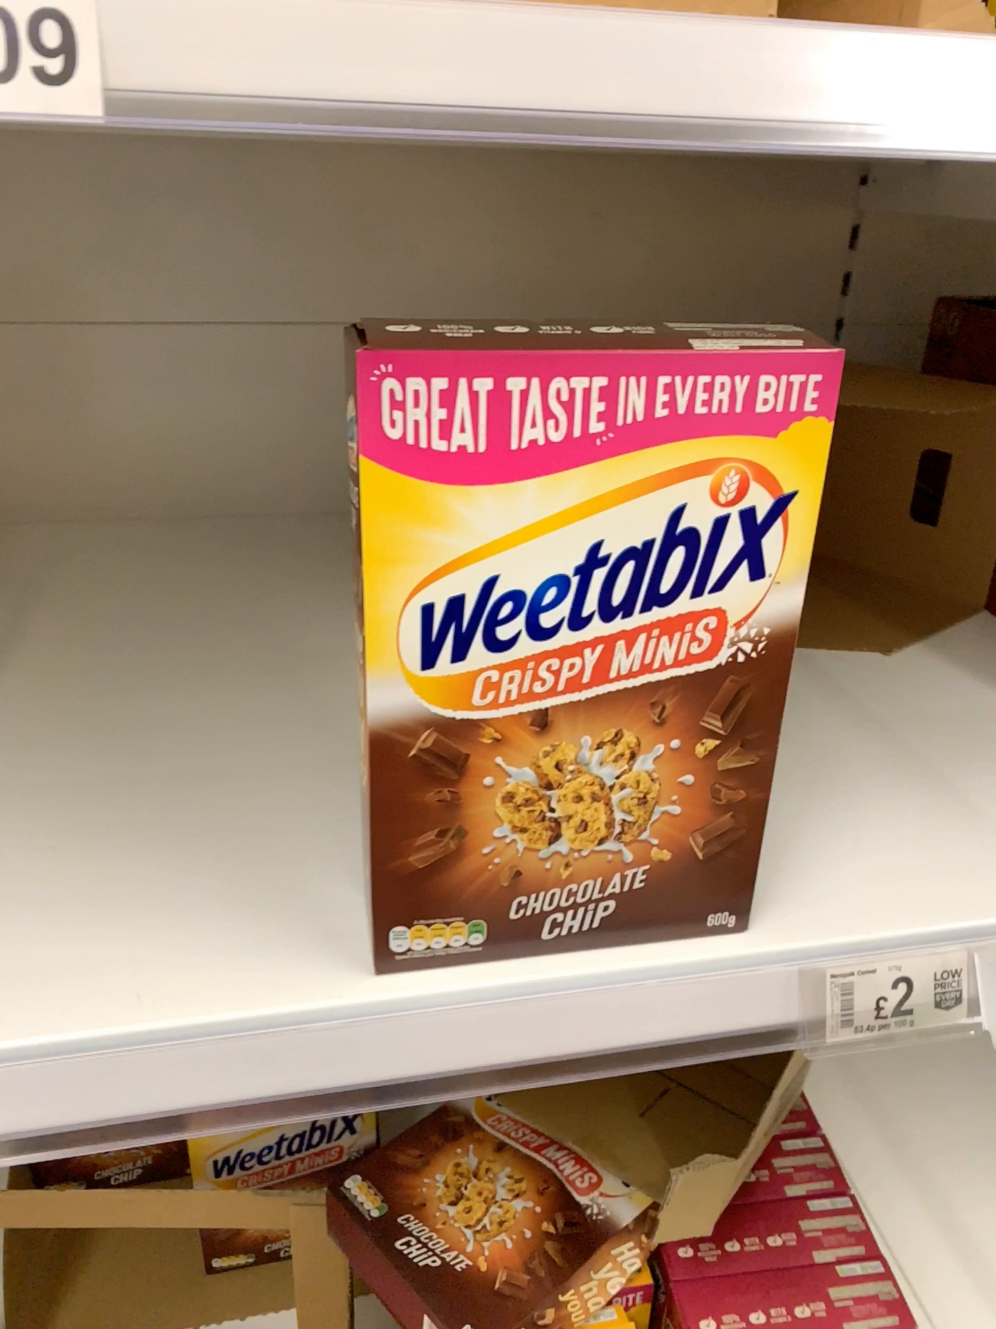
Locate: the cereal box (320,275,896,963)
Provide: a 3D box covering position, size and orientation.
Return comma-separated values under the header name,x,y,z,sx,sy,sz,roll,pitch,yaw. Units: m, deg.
name,x,y,z,sx,sy,sz,roll,pitch,yaw
cereal box,0.035,-0.015,0.456,0.210,0.287,0.071,-3,26,-11
